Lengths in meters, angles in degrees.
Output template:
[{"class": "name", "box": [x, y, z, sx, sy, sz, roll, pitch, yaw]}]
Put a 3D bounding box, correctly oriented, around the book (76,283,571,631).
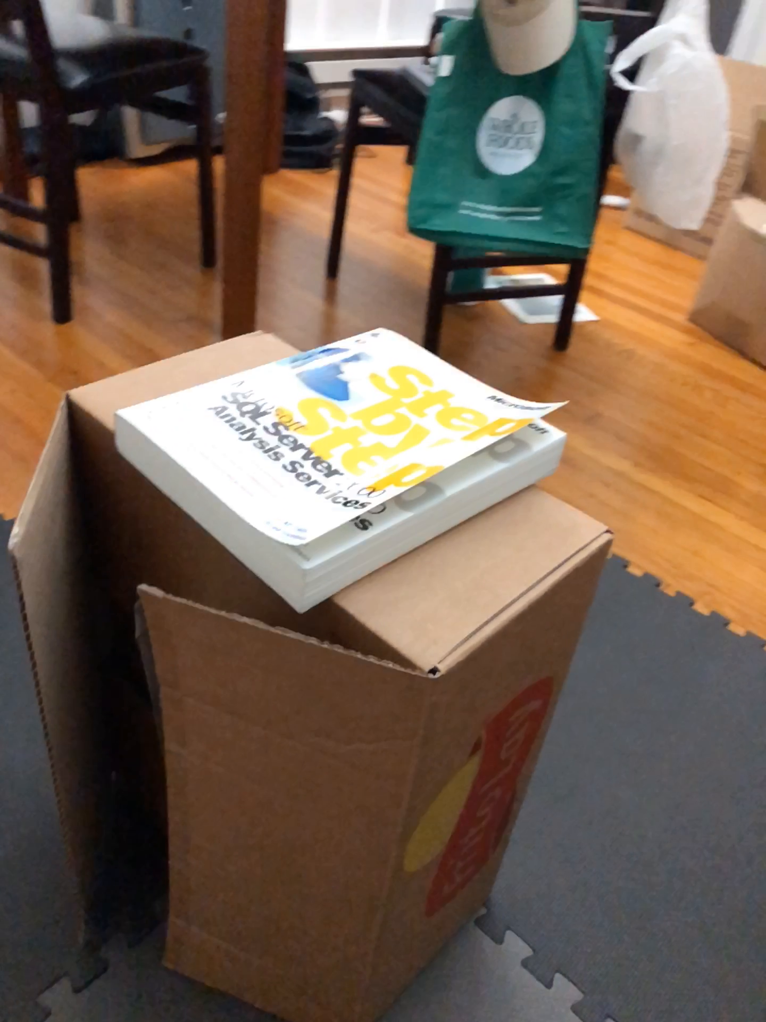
[{"class": "book", "box": [-0.033, -0.056, 0.547, 0.200, 0.050, 0.241, 37, 47, 28]}]
